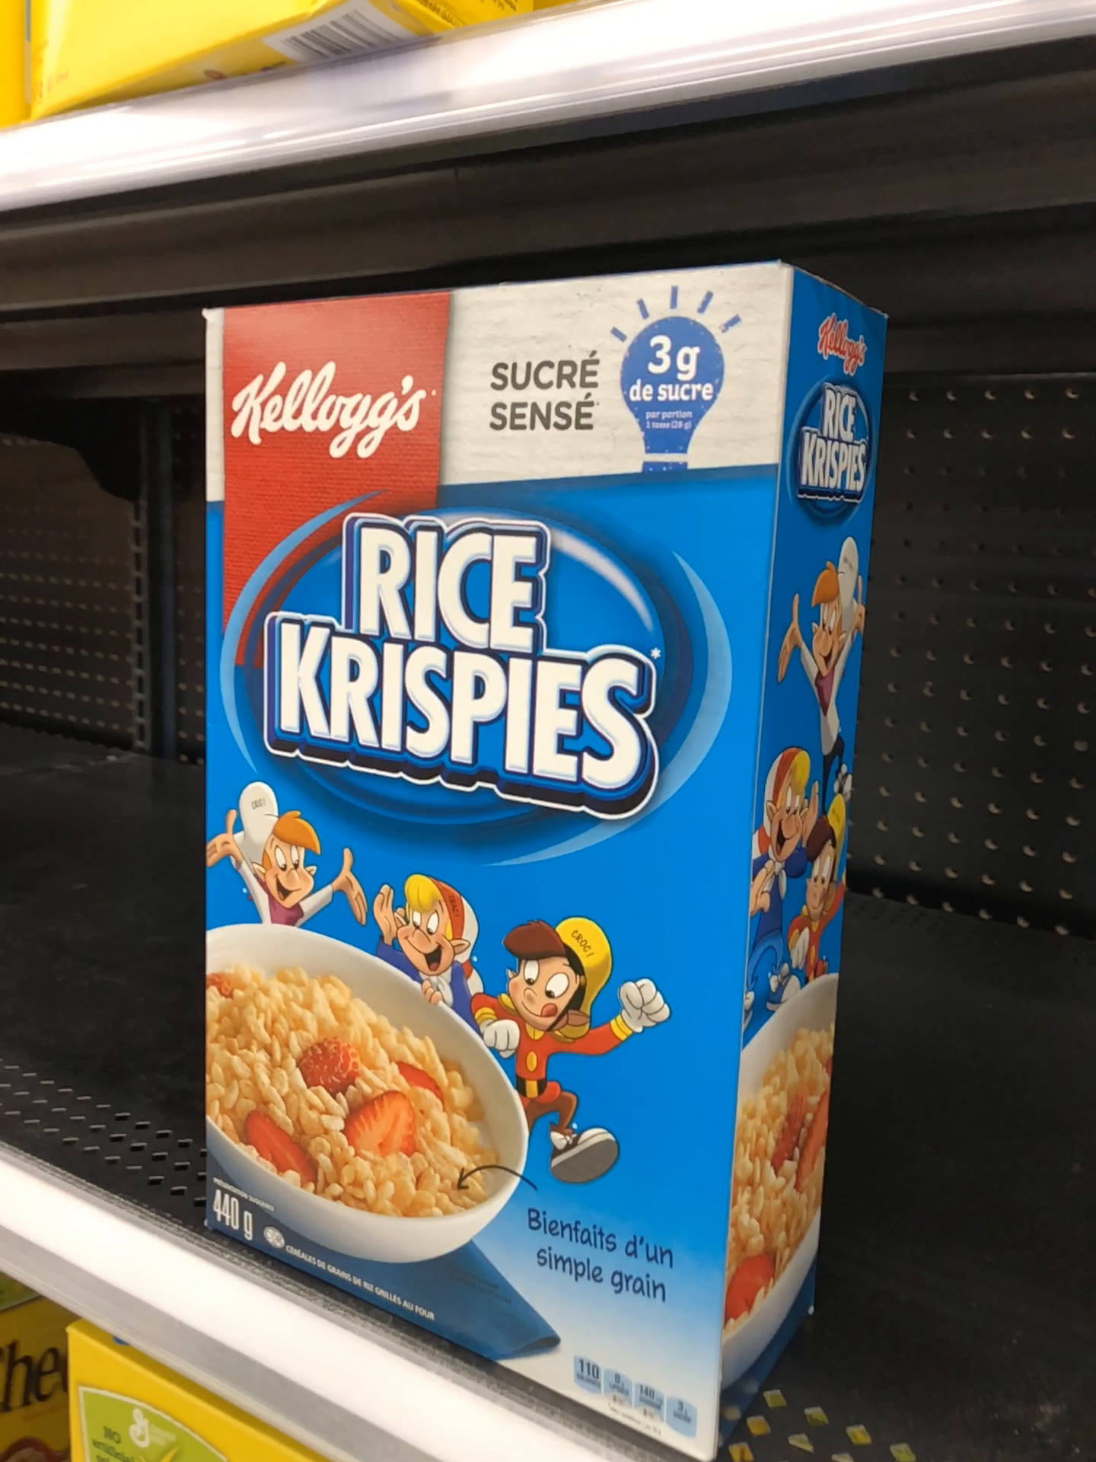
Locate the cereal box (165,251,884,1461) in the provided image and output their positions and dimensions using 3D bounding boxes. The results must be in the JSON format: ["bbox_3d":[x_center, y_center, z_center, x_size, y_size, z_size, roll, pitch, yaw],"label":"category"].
[{"bbox_3d":[-0.018,0.024,0.377,0.200,0.299,0.080,8,10,32],"label":"cereal box"}]
